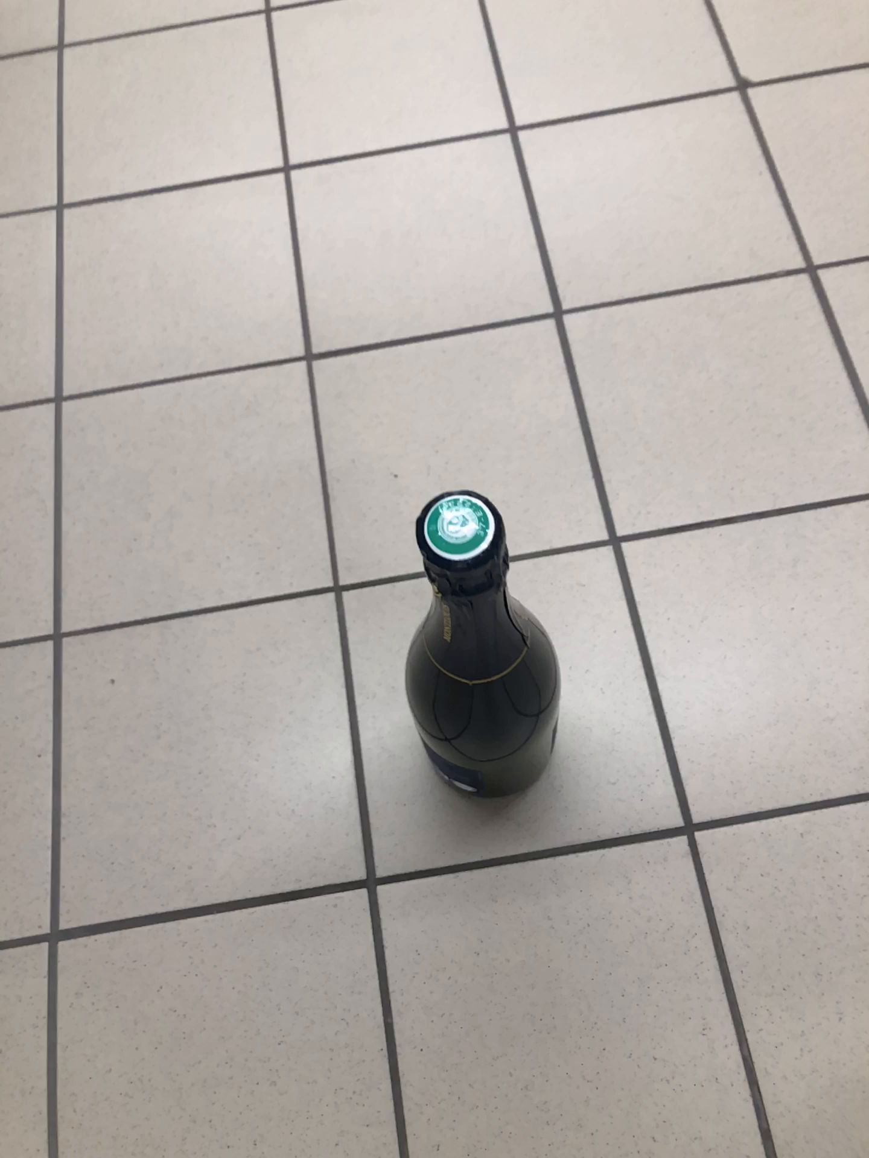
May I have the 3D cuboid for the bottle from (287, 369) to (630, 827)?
[{"bbox_3d":[0.021,0.037,0.487,0.090,0.309,0.090,-2,66,4],"label":"bottle"}]
